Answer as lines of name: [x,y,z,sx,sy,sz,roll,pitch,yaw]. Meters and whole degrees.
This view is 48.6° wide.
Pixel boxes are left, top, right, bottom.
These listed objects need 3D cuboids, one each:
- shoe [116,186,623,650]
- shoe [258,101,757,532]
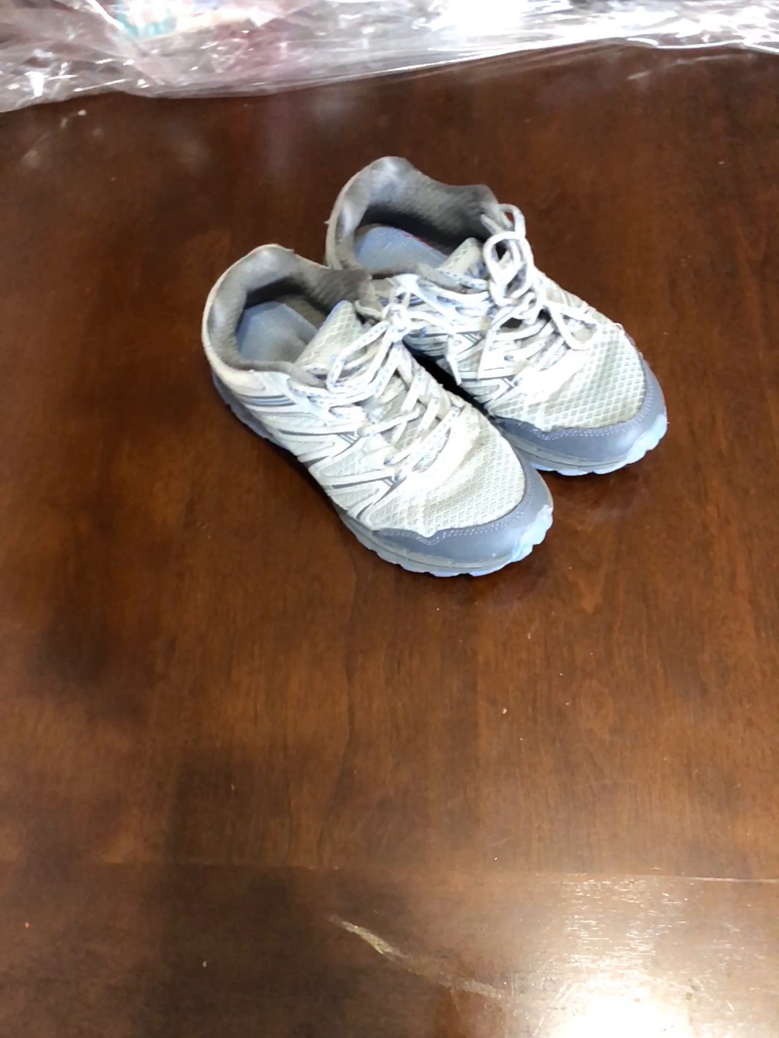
shoe: [-0.014,-0.062,0.479,0.250,0.100,0.110,38,73,23]
shoe: [0.060,-0.127,0.516,0.260,0.100,0.110,38,73,23]
